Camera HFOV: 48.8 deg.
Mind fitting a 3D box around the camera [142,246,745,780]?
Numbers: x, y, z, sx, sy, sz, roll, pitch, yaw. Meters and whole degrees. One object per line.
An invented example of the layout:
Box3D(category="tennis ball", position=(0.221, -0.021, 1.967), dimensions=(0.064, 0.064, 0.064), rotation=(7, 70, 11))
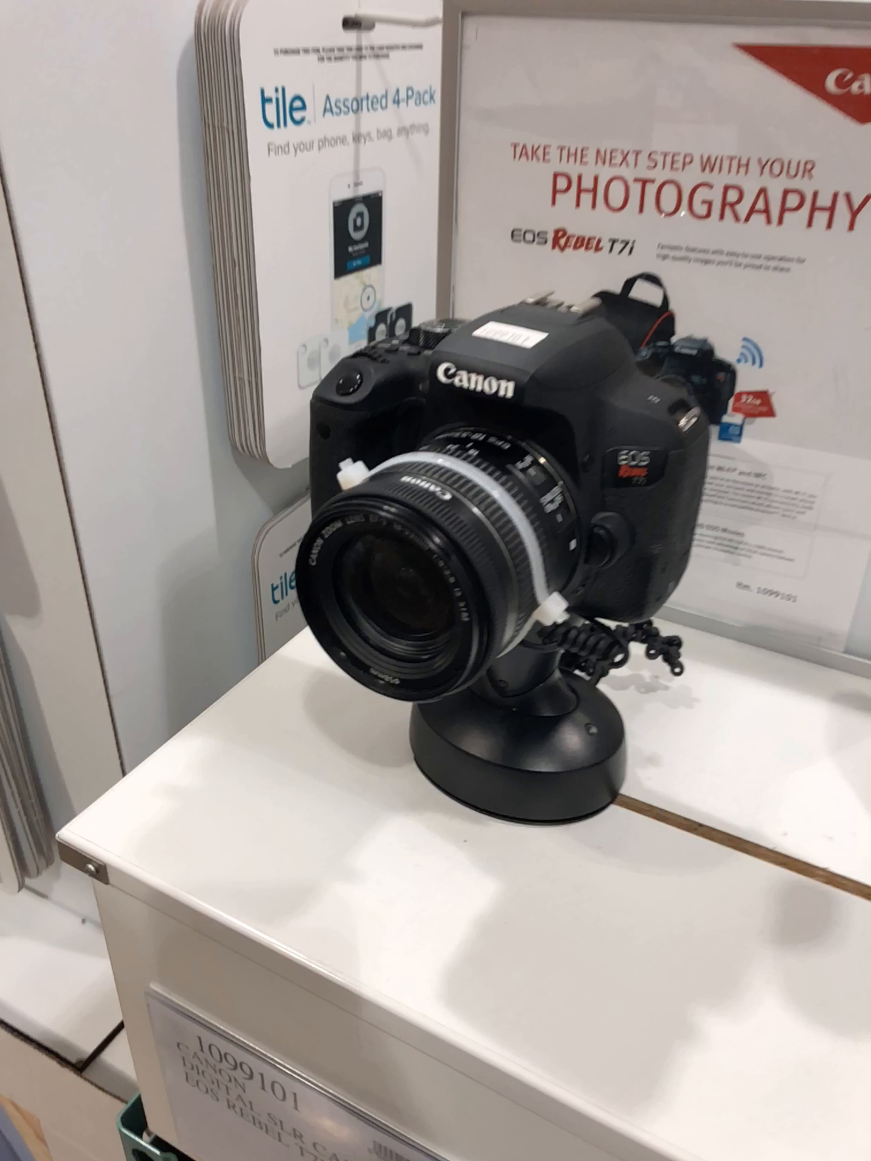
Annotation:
Box3D(category="camera", position=(0.006, -0.035, 0.301), dimensions=(0.130, 0.100, 0.120), rotation=(19, 35, 26))
